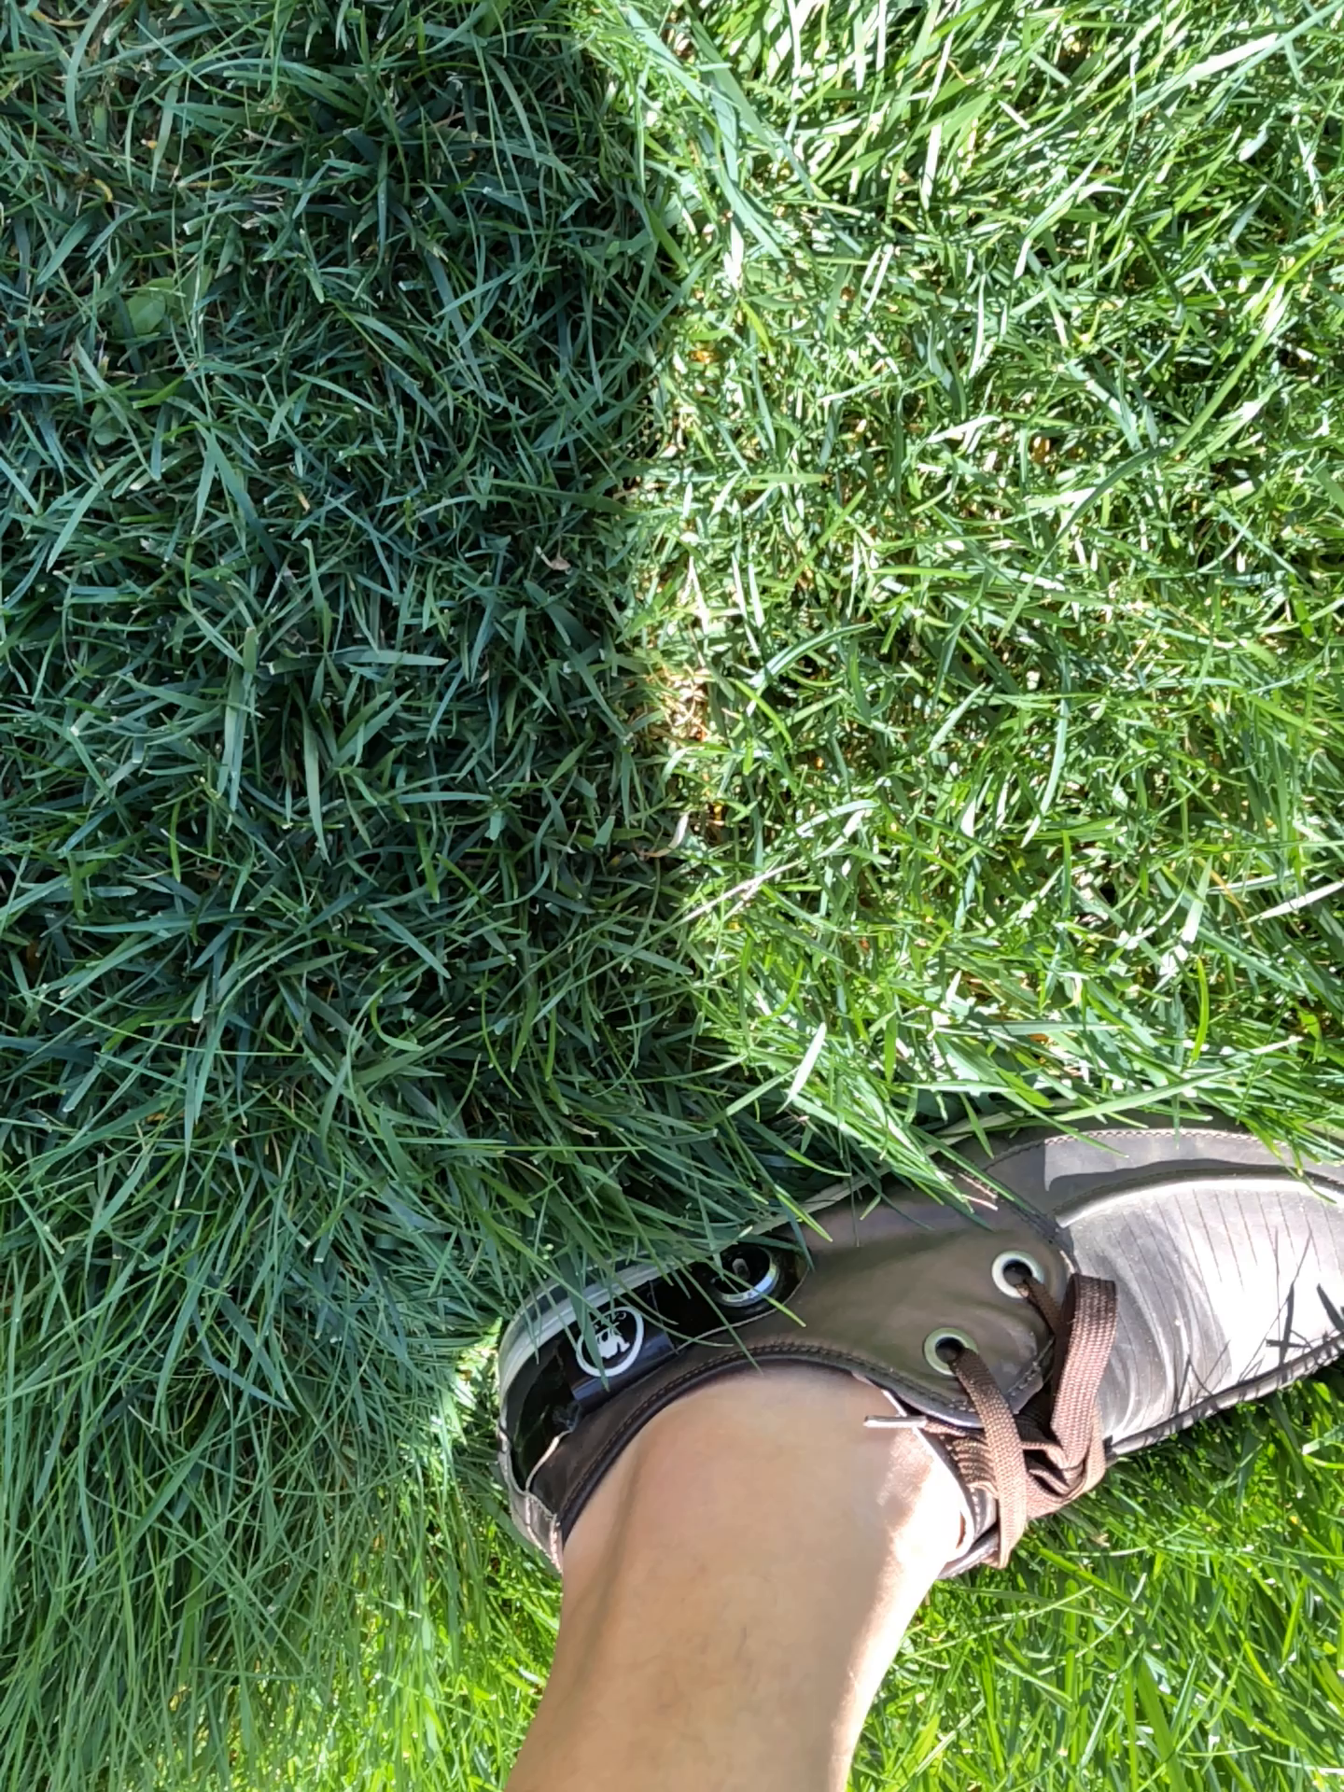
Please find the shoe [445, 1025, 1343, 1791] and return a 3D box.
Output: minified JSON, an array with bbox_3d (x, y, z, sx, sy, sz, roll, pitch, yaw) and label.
[{"bbox_3d":[0.092,0.137,0.412,0.280,0.093,0.112,-14,104,-1],"label":"shoe"}]
